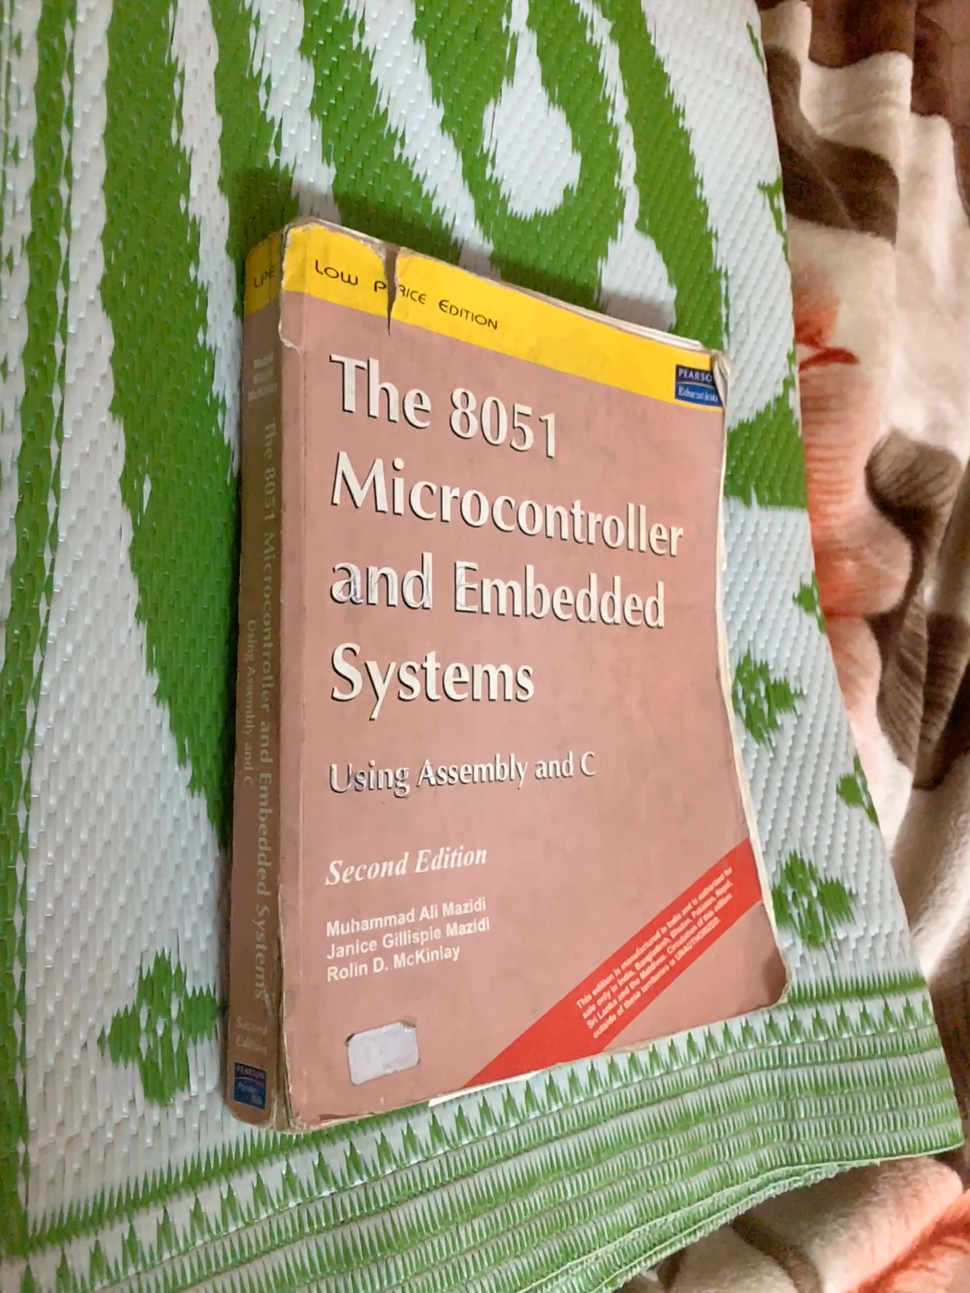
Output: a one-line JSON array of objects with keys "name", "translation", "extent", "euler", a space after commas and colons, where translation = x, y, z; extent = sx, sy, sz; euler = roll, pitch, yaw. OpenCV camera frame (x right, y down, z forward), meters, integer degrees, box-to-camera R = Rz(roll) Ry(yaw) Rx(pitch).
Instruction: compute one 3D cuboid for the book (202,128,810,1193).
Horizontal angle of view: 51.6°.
[{"name": "book", "translation": [0.020, 0.003, 0.368], "extent": [0.231, 0.050, 0.300], "euler": [2, 85, -34]}]
